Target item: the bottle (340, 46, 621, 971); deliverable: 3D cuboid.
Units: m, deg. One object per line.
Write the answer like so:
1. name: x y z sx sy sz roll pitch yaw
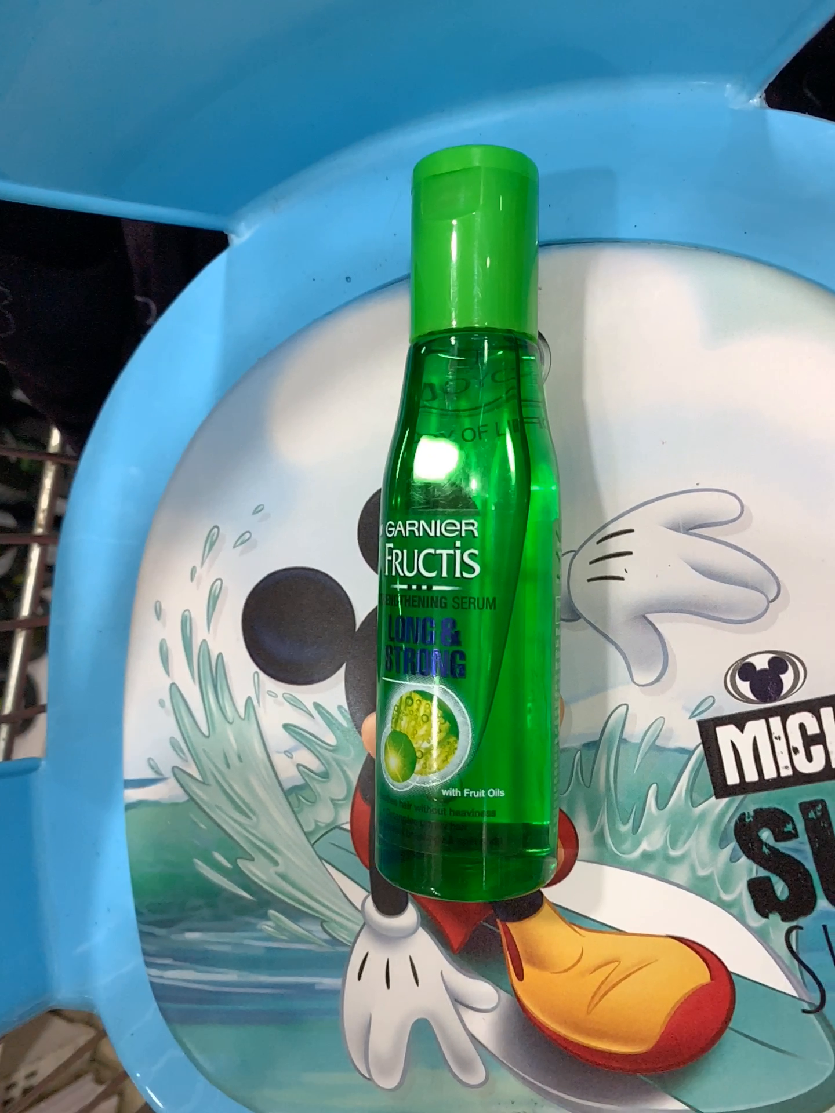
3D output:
1. bottle: 0.014 -0.009 0.178 0.040 0.040 0.160 -2 87 43
